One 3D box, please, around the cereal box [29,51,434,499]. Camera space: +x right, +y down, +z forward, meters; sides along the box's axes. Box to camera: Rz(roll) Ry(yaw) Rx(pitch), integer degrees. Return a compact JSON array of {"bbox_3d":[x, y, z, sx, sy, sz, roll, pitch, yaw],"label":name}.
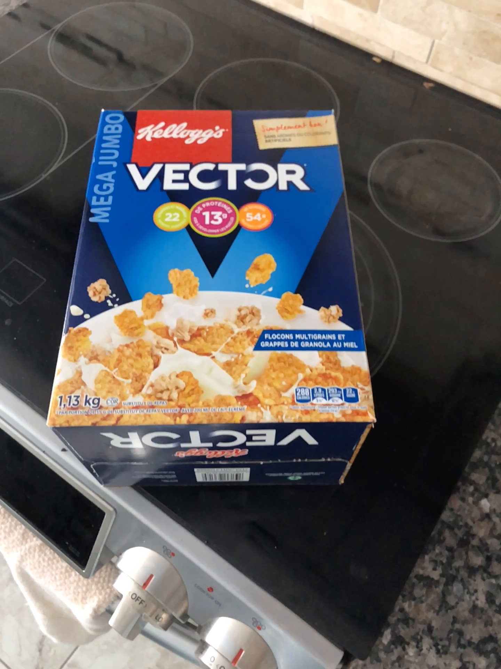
[{"bbox_3d":[-0.014,-0.044,0.448,0.220,0.170,0.311,0,64,-2],"label":"cereal box"}]
